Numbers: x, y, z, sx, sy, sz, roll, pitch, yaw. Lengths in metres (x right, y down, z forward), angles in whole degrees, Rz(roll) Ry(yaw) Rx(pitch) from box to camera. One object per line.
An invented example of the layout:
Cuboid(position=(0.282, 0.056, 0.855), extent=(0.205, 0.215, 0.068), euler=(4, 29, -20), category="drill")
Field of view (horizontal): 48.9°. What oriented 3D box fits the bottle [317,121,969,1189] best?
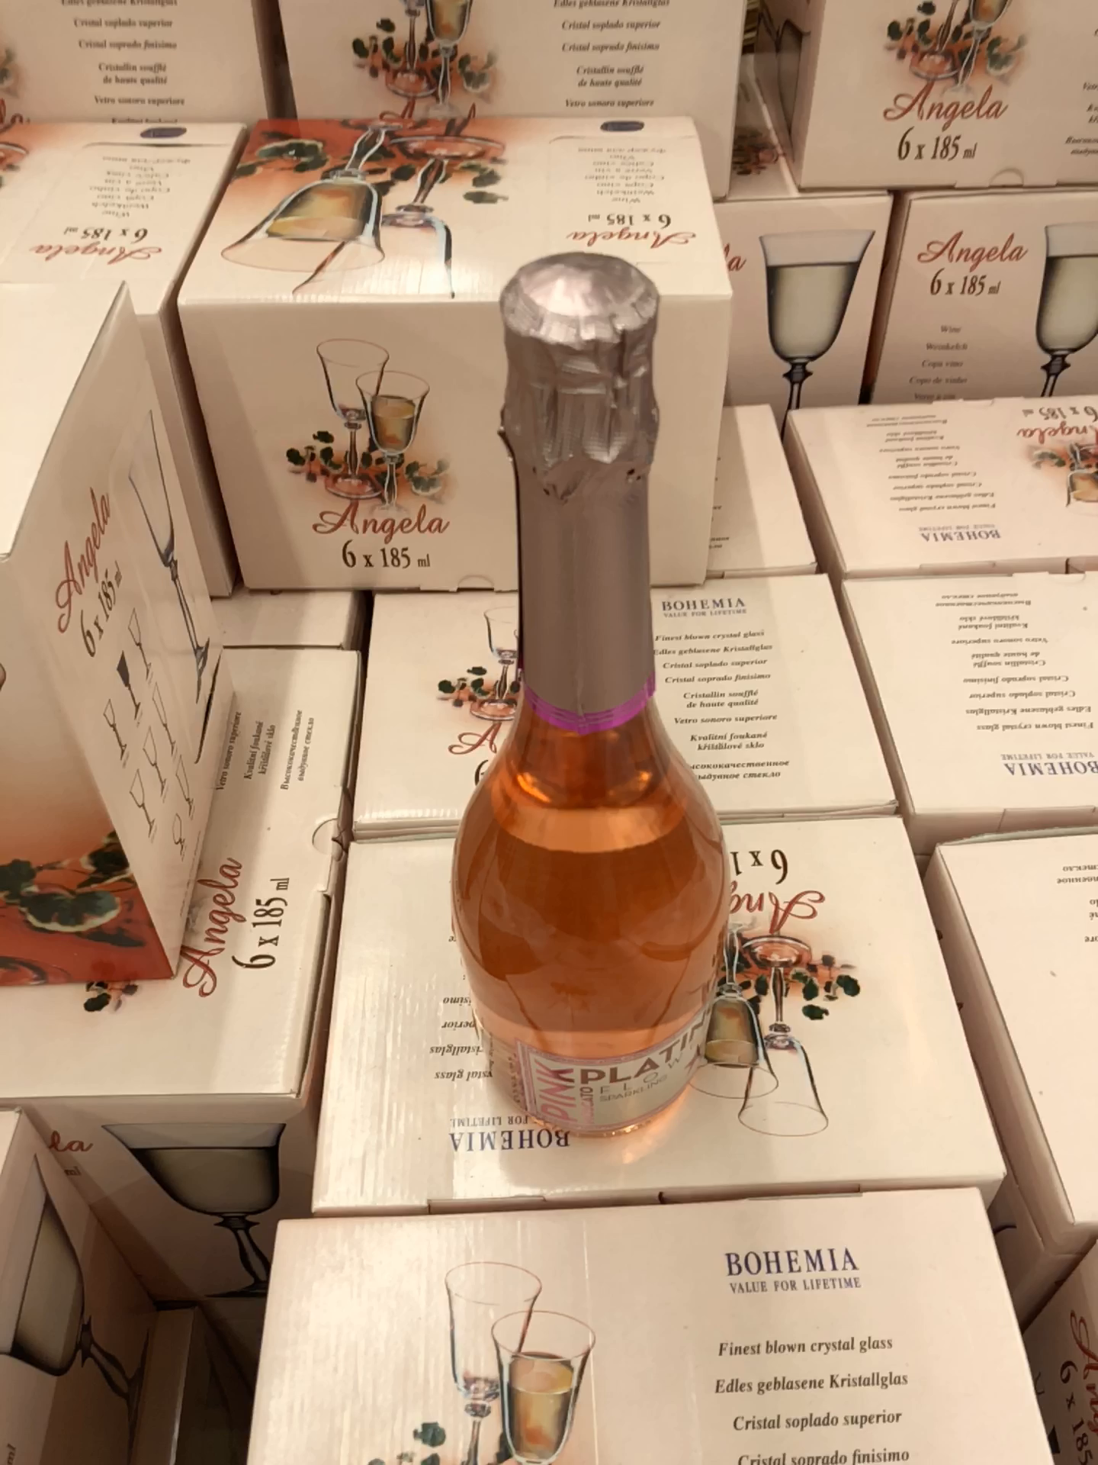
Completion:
Cuboid(position=(0.015, 0.007, 0.357), extent=(0.100, 0.309, 0.100), euler=(0, 46, 0), category="bottle")
